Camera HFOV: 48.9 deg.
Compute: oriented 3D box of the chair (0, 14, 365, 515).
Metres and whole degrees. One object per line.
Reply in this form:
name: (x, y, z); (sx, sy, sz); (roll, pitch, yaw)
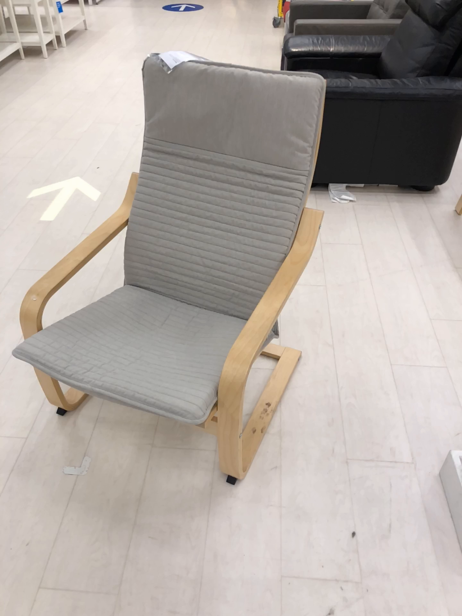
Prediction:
chair: (-0.169, -0.148, 1.387); (0.731, 0.996, 0.702); (18, 42, 20)
